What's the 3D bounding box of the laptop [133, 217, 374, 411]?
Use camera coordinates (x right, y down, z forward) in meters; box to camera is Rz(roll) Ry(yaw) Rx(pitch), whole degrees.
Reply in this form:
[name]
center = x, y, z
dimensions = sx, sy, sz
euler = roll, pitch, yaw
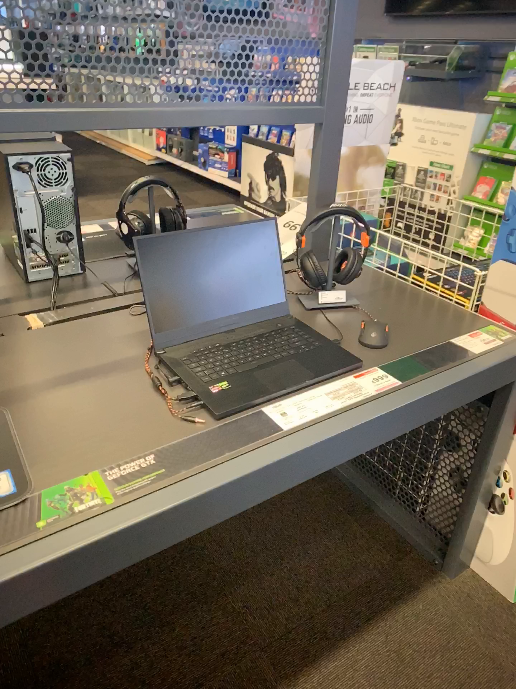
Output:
[laptop]
center = -0.018, -0.090, 1.062
dimensions = 0.349, 0.203, 0.325
euler = -16, 36, -32
